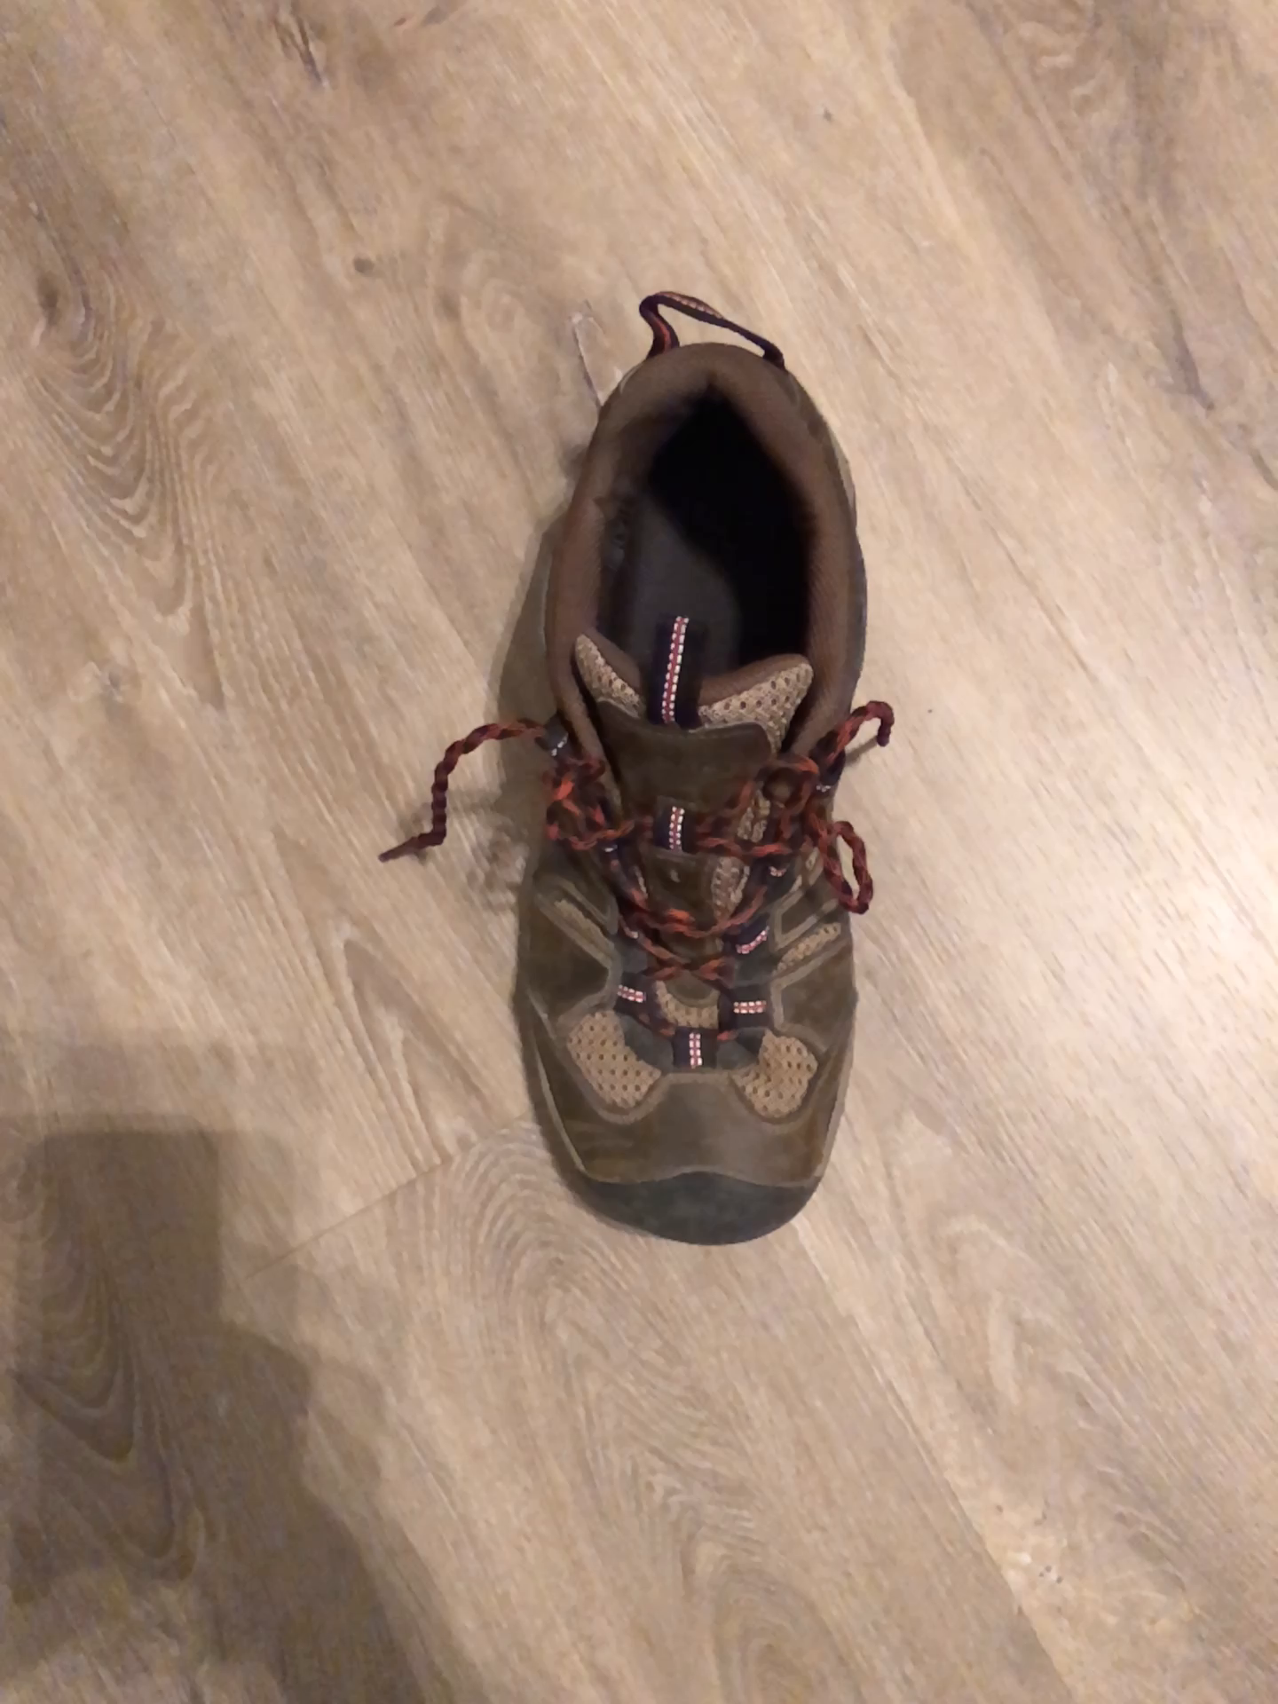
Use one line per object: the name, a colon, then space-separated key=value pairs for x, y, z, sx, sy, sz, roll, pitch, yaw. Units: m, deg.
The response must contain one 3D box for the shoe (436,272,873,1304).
shoe: x=0.012 y=-0.017 z=0.424 sx=0.110 sy=0.100 sz=0.270 roll=1 pitch=84 yaw=8
